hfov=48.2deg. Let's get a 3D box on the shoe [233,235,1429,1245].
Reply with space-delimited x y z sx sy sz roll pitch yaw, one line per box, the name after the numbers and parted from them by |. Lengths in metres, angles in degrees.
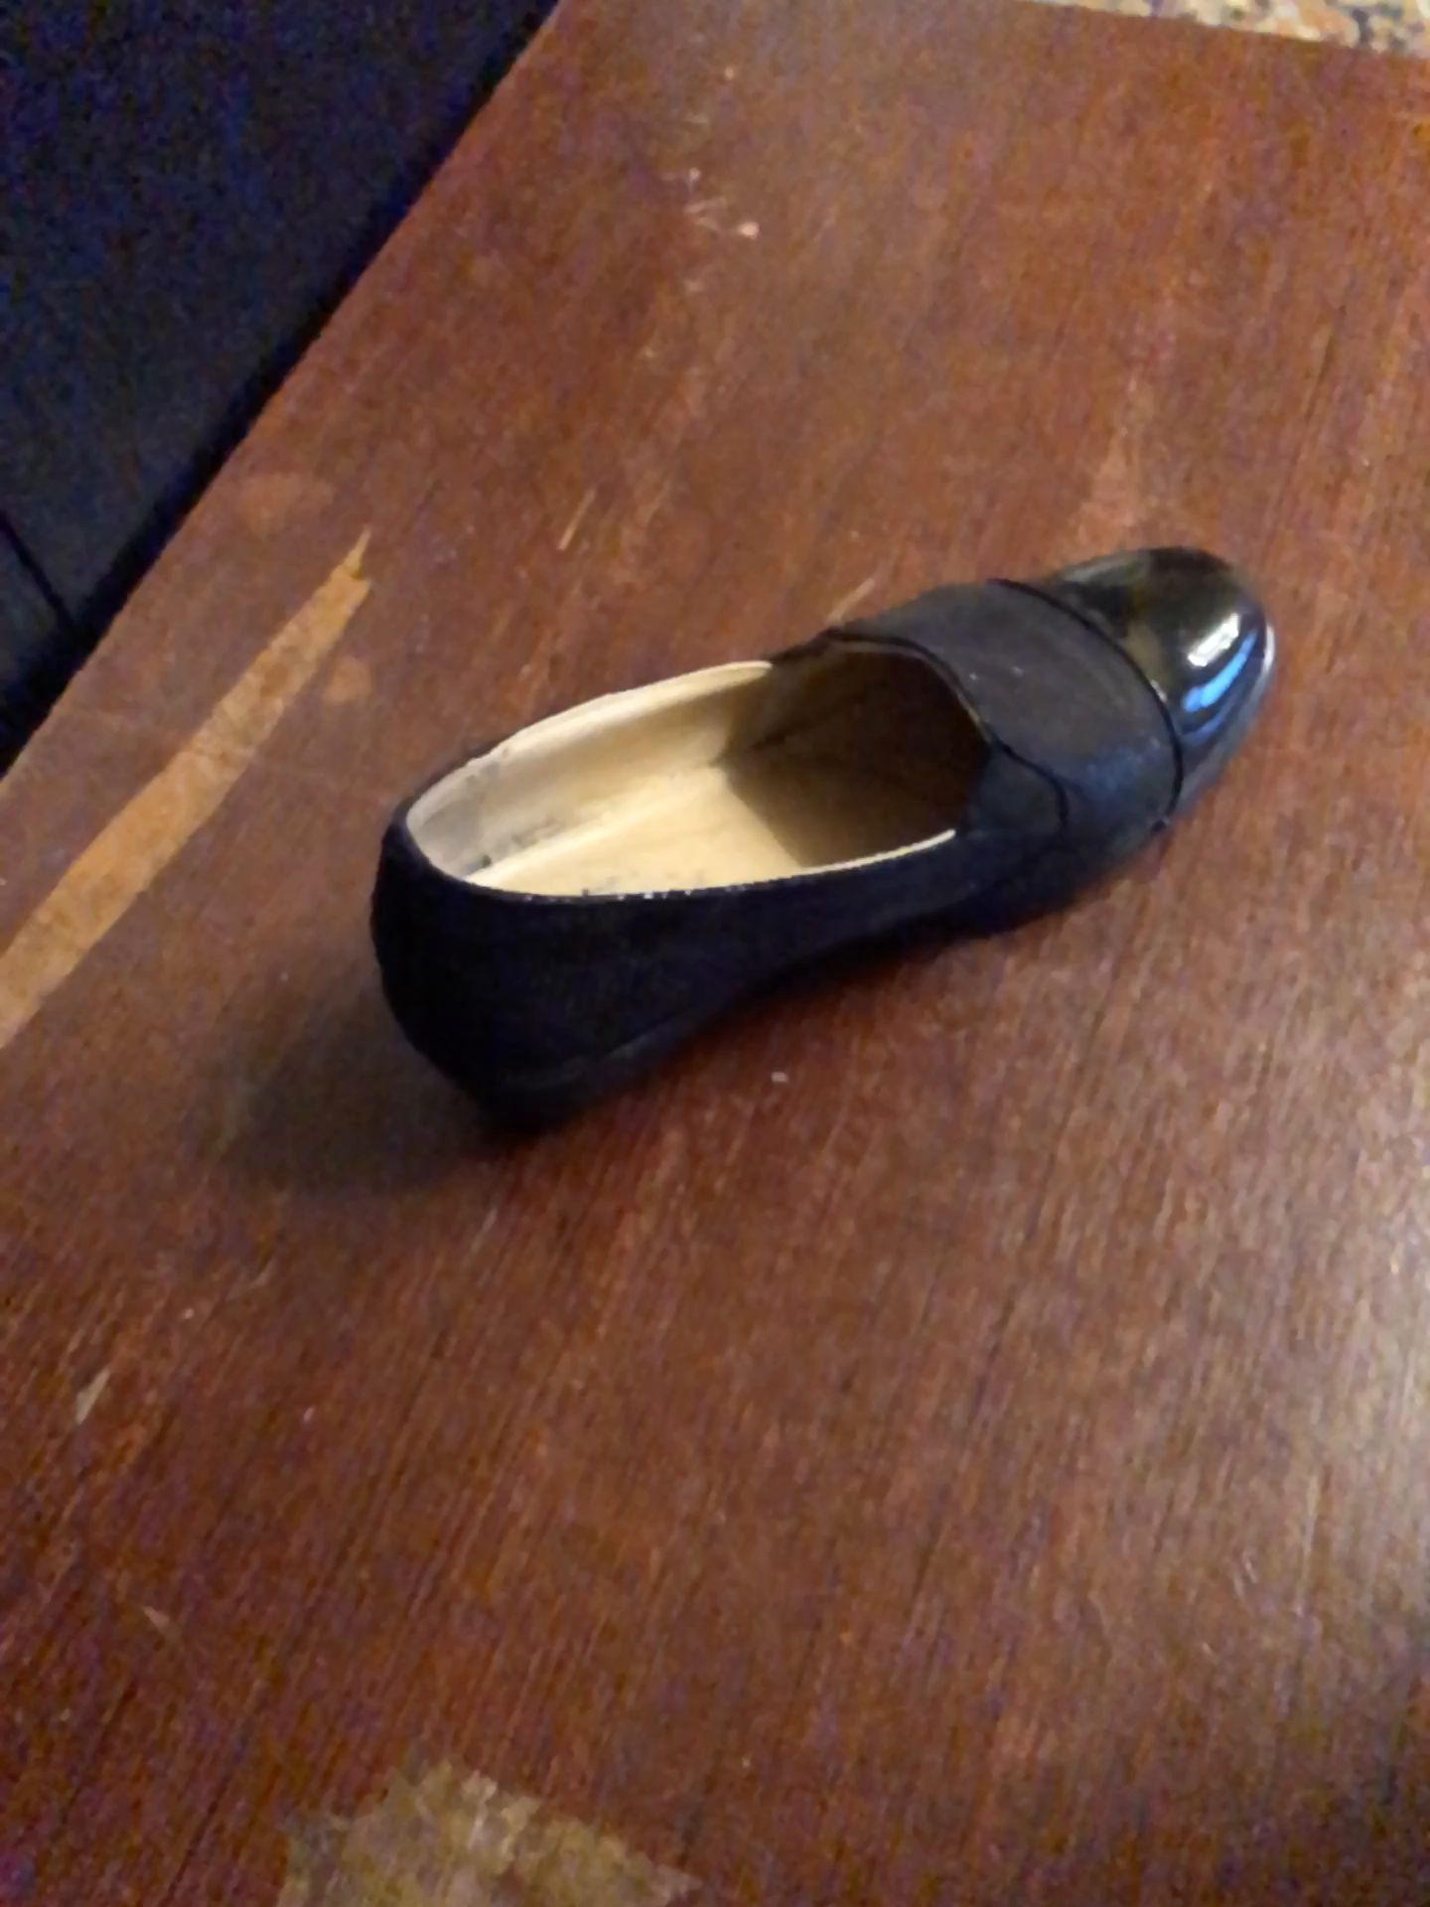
0.034 -0.048 0.351 0.235 0.090 0.090 -29 62 -10 | shoe
